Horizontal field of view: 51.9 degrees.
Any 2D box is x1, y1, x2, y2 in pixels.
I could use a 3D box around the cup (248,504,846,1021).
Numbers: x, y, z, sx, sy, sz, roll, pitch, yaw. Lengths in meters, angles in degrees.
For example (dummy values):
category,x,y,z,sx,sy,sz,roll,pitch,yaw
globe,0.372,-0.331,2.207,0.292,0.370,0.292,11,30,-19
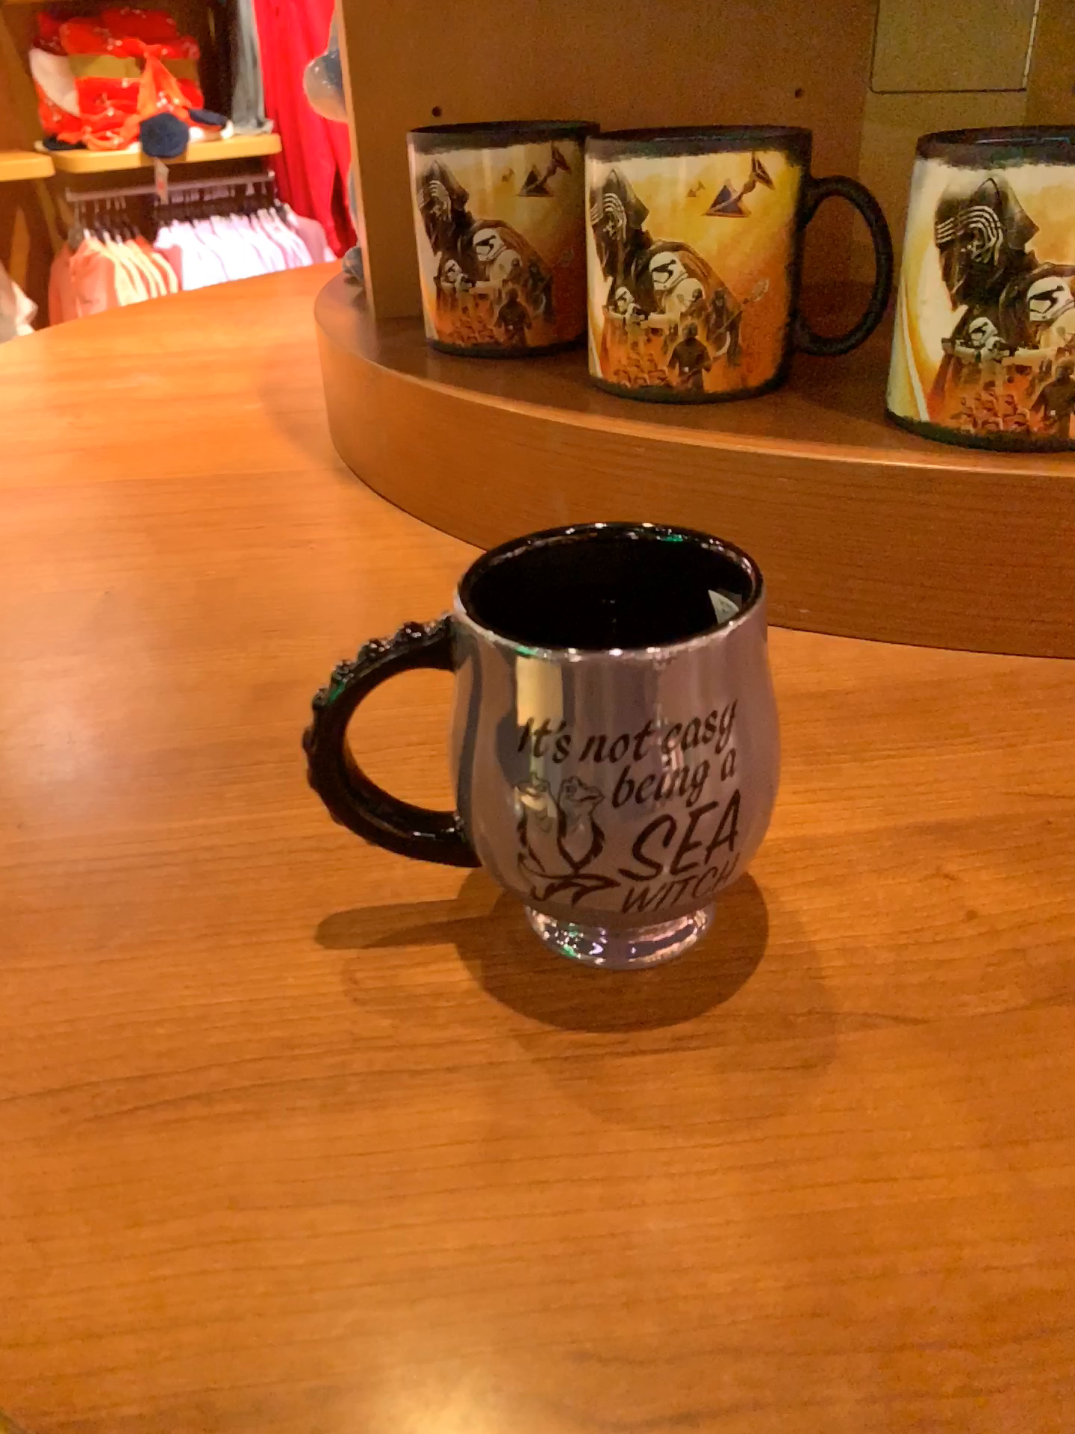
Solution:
category,x,y,z,sx,sy,sz,roll,pitch,yaw
cup,0.000,0.007,0.288,0.125,0.089,0.087,-6,31,-5
